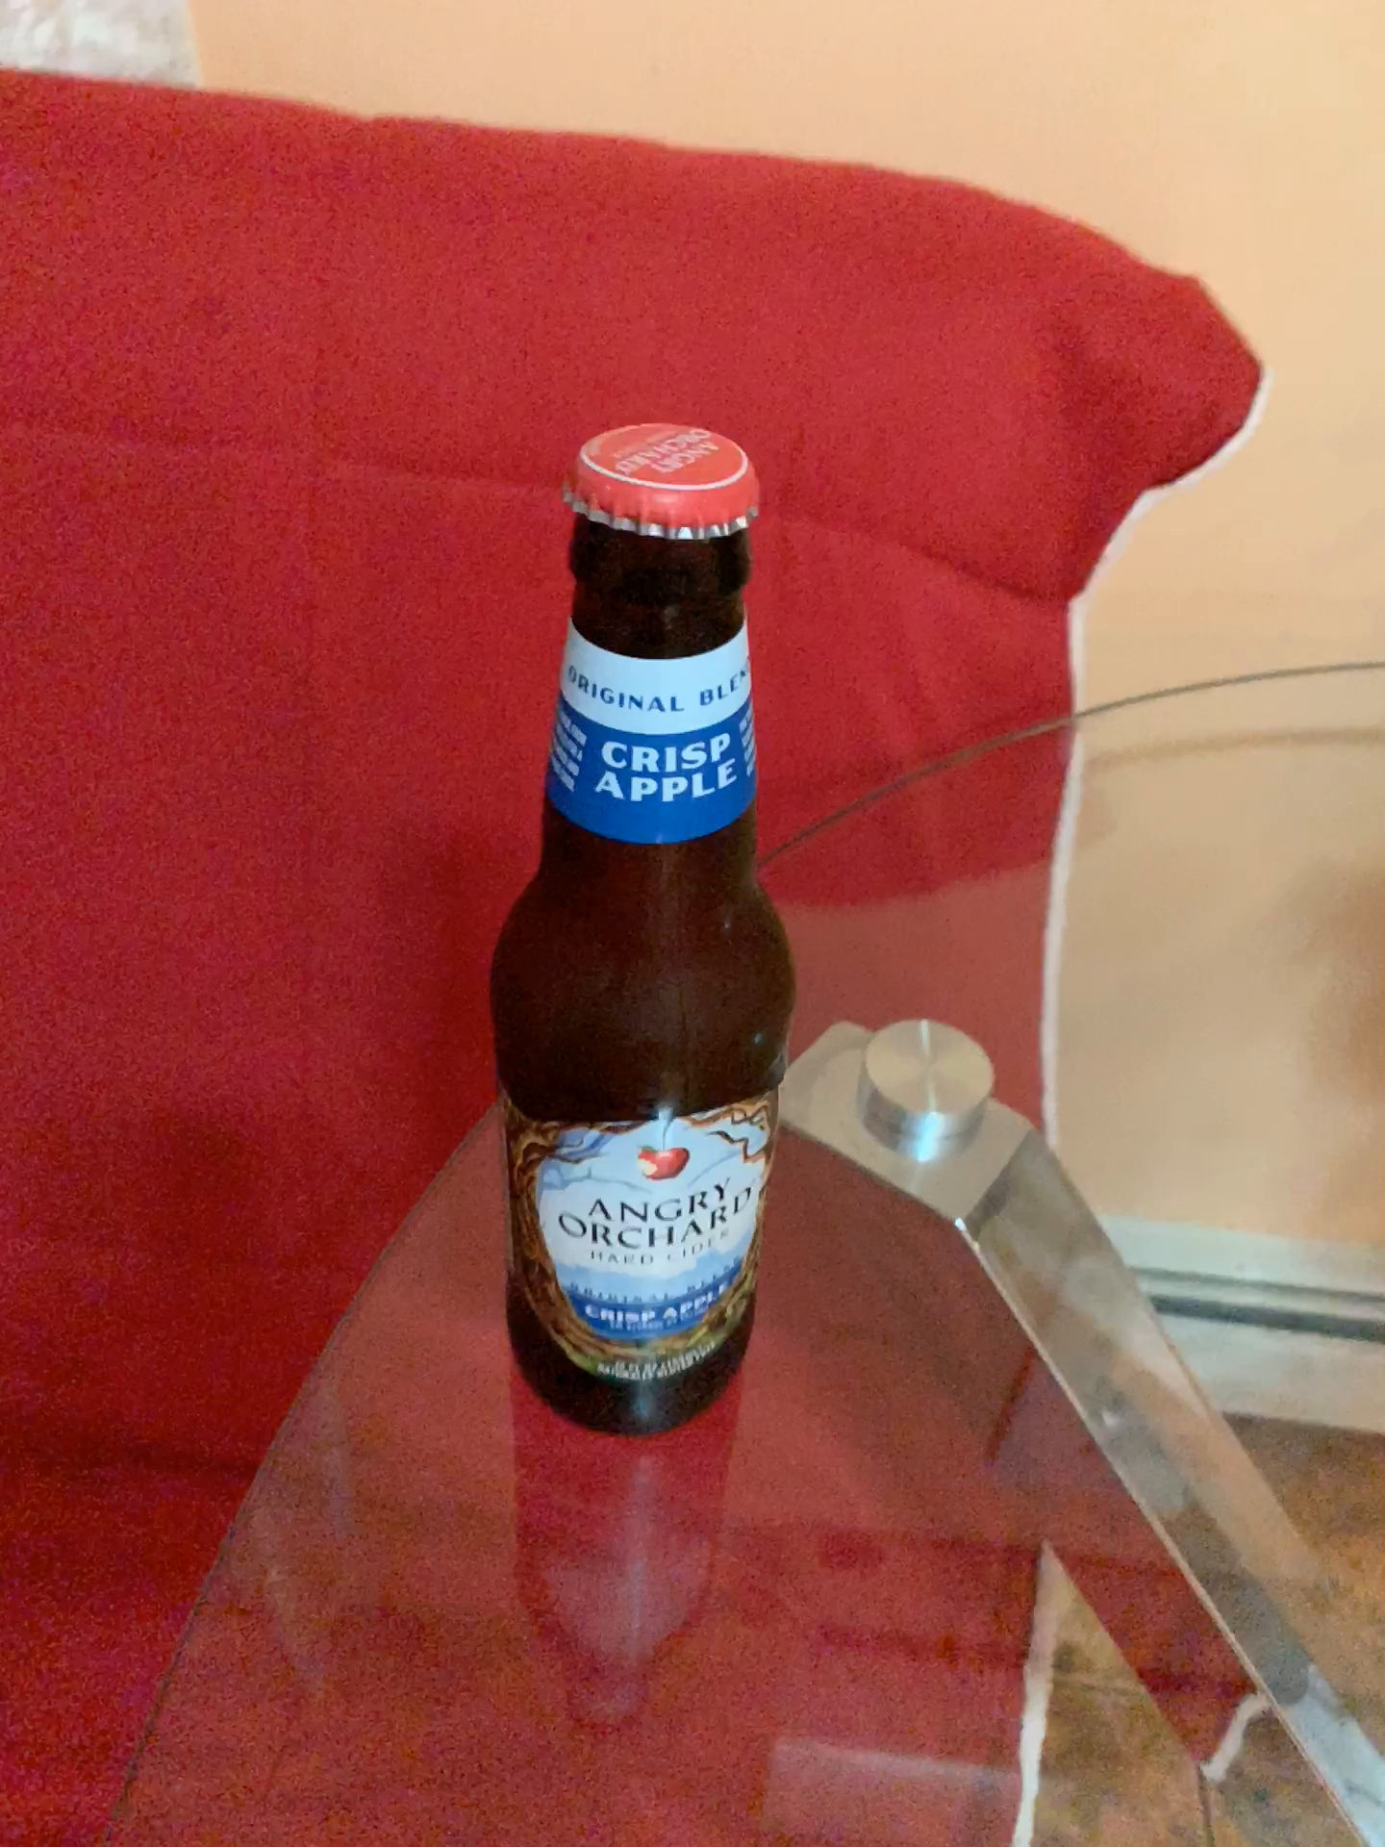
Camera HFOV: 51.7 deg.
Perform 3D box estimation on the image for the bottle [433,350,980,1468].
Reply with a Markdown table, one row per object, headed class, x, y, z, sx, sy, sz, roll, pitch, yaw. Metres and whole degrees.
| class | x | y | z | sx | sy | sz | roll | pitch | yaw |
| --- | --- | --- | --- | --- | --- | --- | --- | --- | --- |
| bottle | -0.009 | 0.012 | 0.294 | 0.070 | 0.231 | 0.070 | 3 | 39 | -3 |
